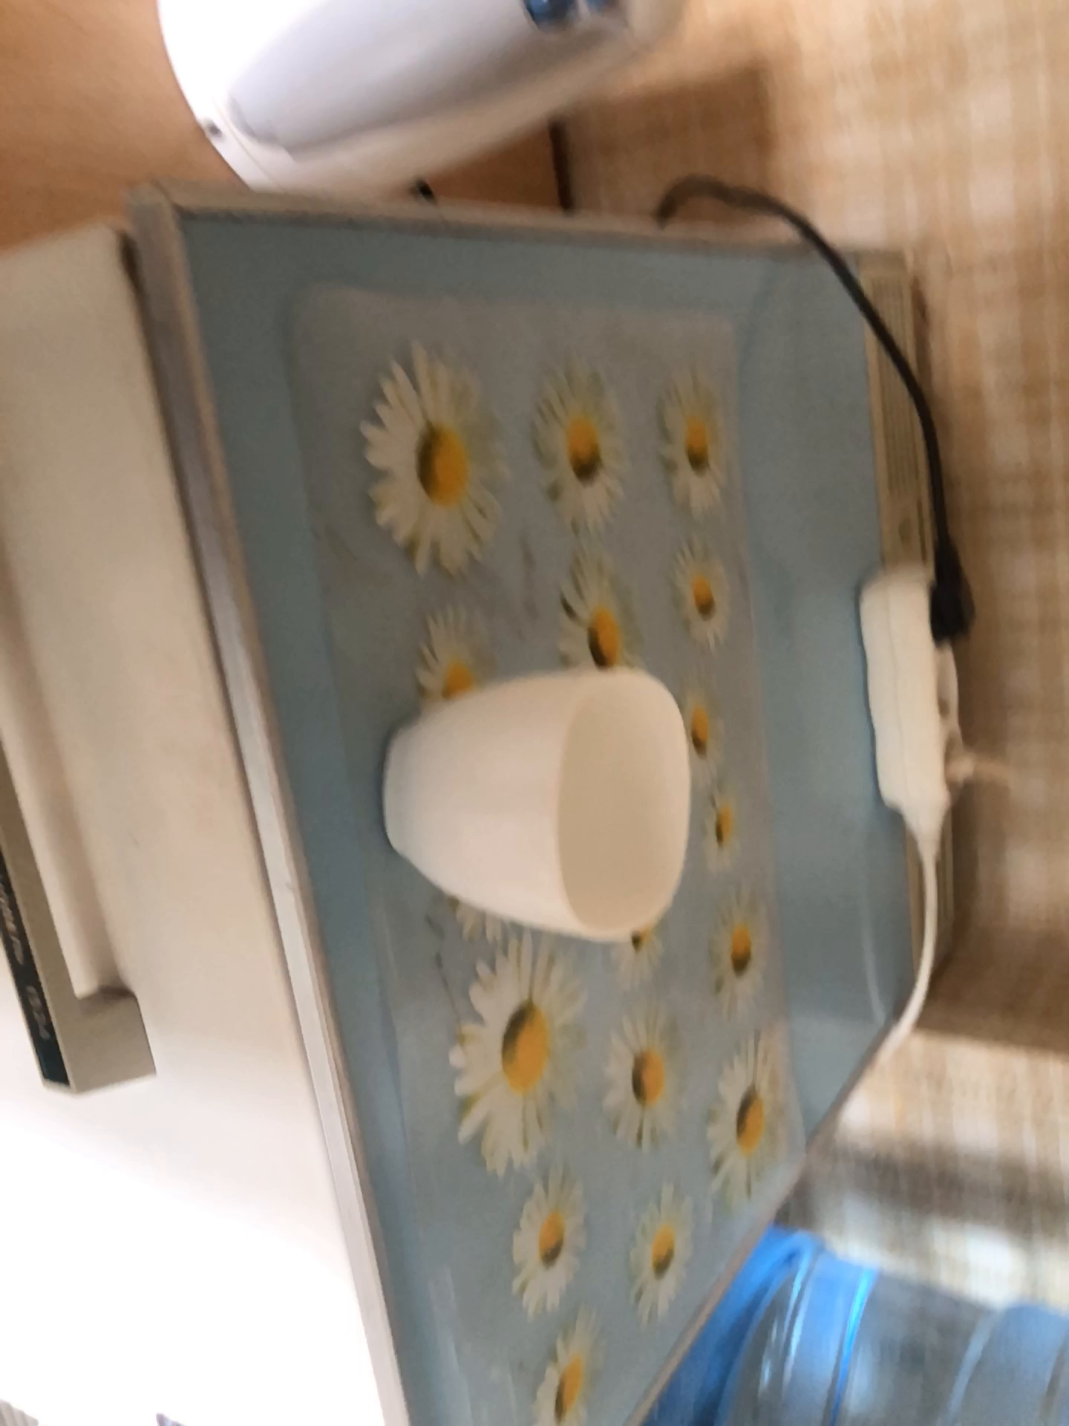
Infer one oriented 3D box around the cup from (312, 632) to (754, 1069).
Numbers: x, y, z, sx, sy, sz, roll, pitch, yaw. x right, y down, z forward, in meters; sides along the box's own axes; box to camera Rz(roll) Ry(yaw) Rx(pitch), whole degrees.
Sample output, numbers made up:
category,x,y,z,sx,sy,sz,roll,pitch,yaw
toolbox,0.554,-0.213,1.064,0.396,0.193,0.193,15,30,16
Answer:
category,x,y,z,sx,sy,sz,roll,pitch,yaw
cup,0.005,0.032,0.343,0.103,0.070,0.085,-31,115,-51
